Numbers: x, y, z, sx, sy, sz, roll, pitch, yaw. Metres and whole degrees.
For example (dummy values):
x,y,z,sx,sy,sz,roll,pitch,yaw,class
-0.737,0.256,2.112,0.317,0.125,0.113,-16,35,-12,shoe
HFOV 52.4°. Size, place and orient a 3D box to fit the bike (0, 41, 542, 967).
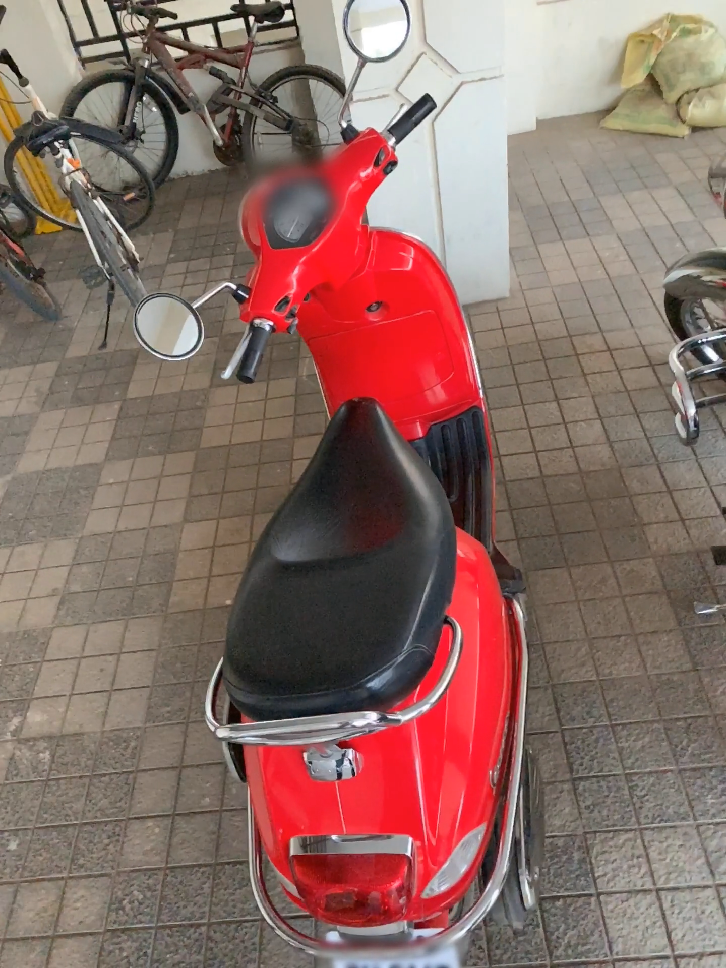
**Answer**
x,y,z,sx,sy,sz,roll,pitch,yaw,class
-0.187,0.033,1.604,0.681,1.262,1.554,-10,46,3,bike
